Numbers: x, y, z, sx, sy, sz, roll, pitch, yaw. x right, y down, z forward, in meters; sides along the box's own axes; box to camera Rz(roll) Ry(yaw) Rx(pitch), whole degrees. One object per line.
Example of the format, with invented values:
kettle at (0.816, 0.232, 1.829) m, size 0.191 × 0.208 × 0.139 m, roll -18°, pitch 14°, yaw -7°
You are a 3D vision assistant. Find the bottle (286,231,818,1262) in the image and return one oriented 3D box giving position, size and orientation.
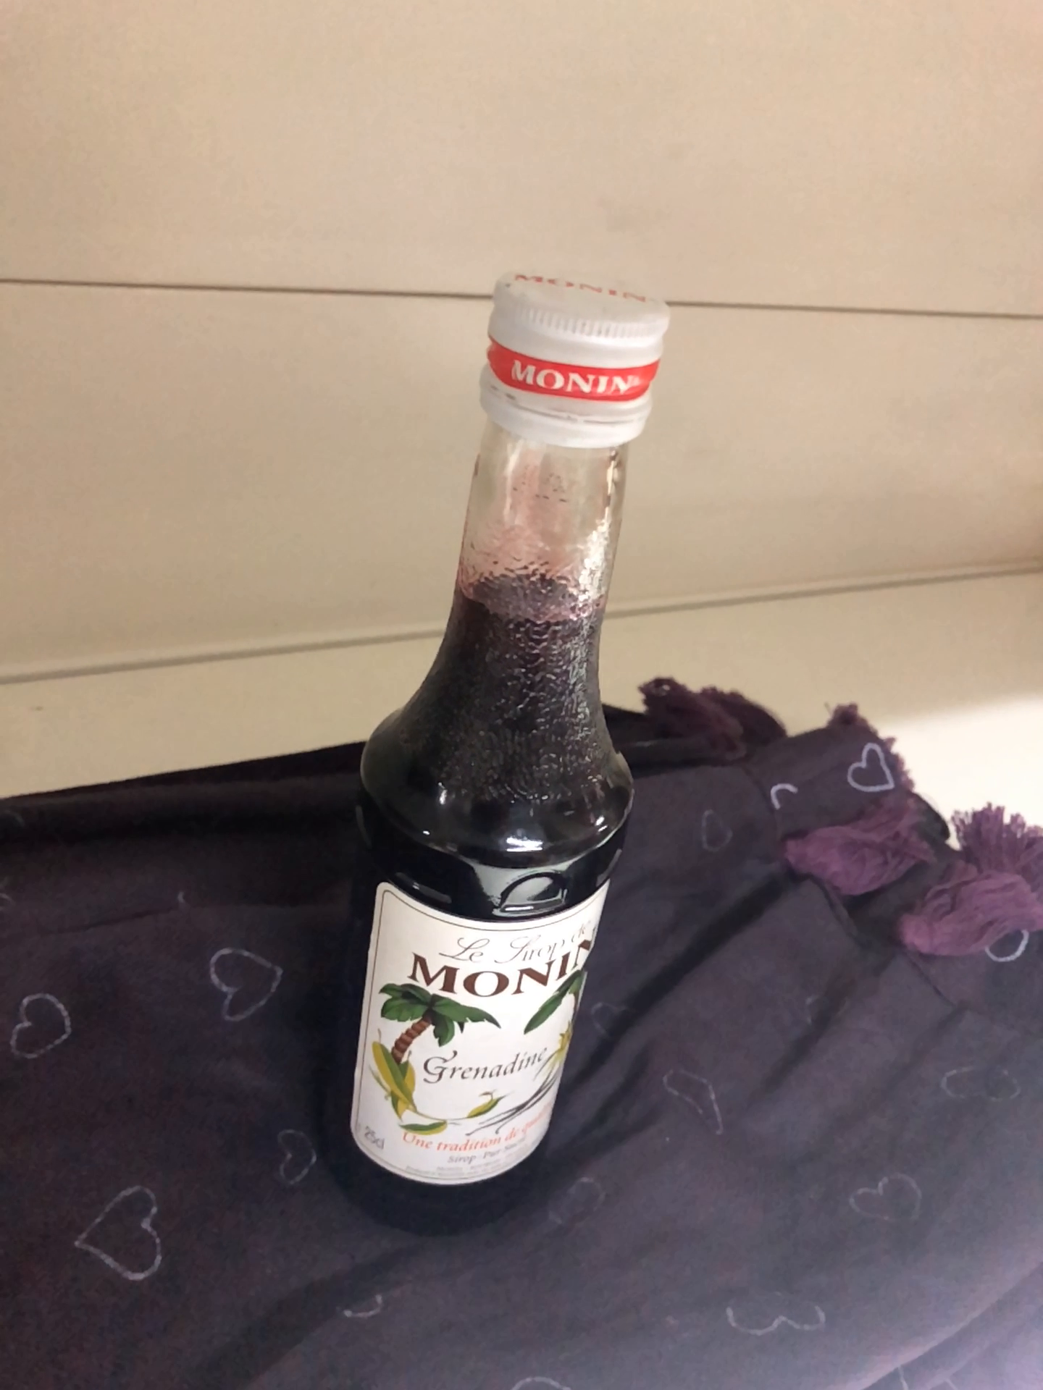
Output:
bottle at (-0.007, 0.018, 0.238) m, size 0.060 × 0.199 × 0.060 m, roll 7°, pitch 29°, yaw -4°
